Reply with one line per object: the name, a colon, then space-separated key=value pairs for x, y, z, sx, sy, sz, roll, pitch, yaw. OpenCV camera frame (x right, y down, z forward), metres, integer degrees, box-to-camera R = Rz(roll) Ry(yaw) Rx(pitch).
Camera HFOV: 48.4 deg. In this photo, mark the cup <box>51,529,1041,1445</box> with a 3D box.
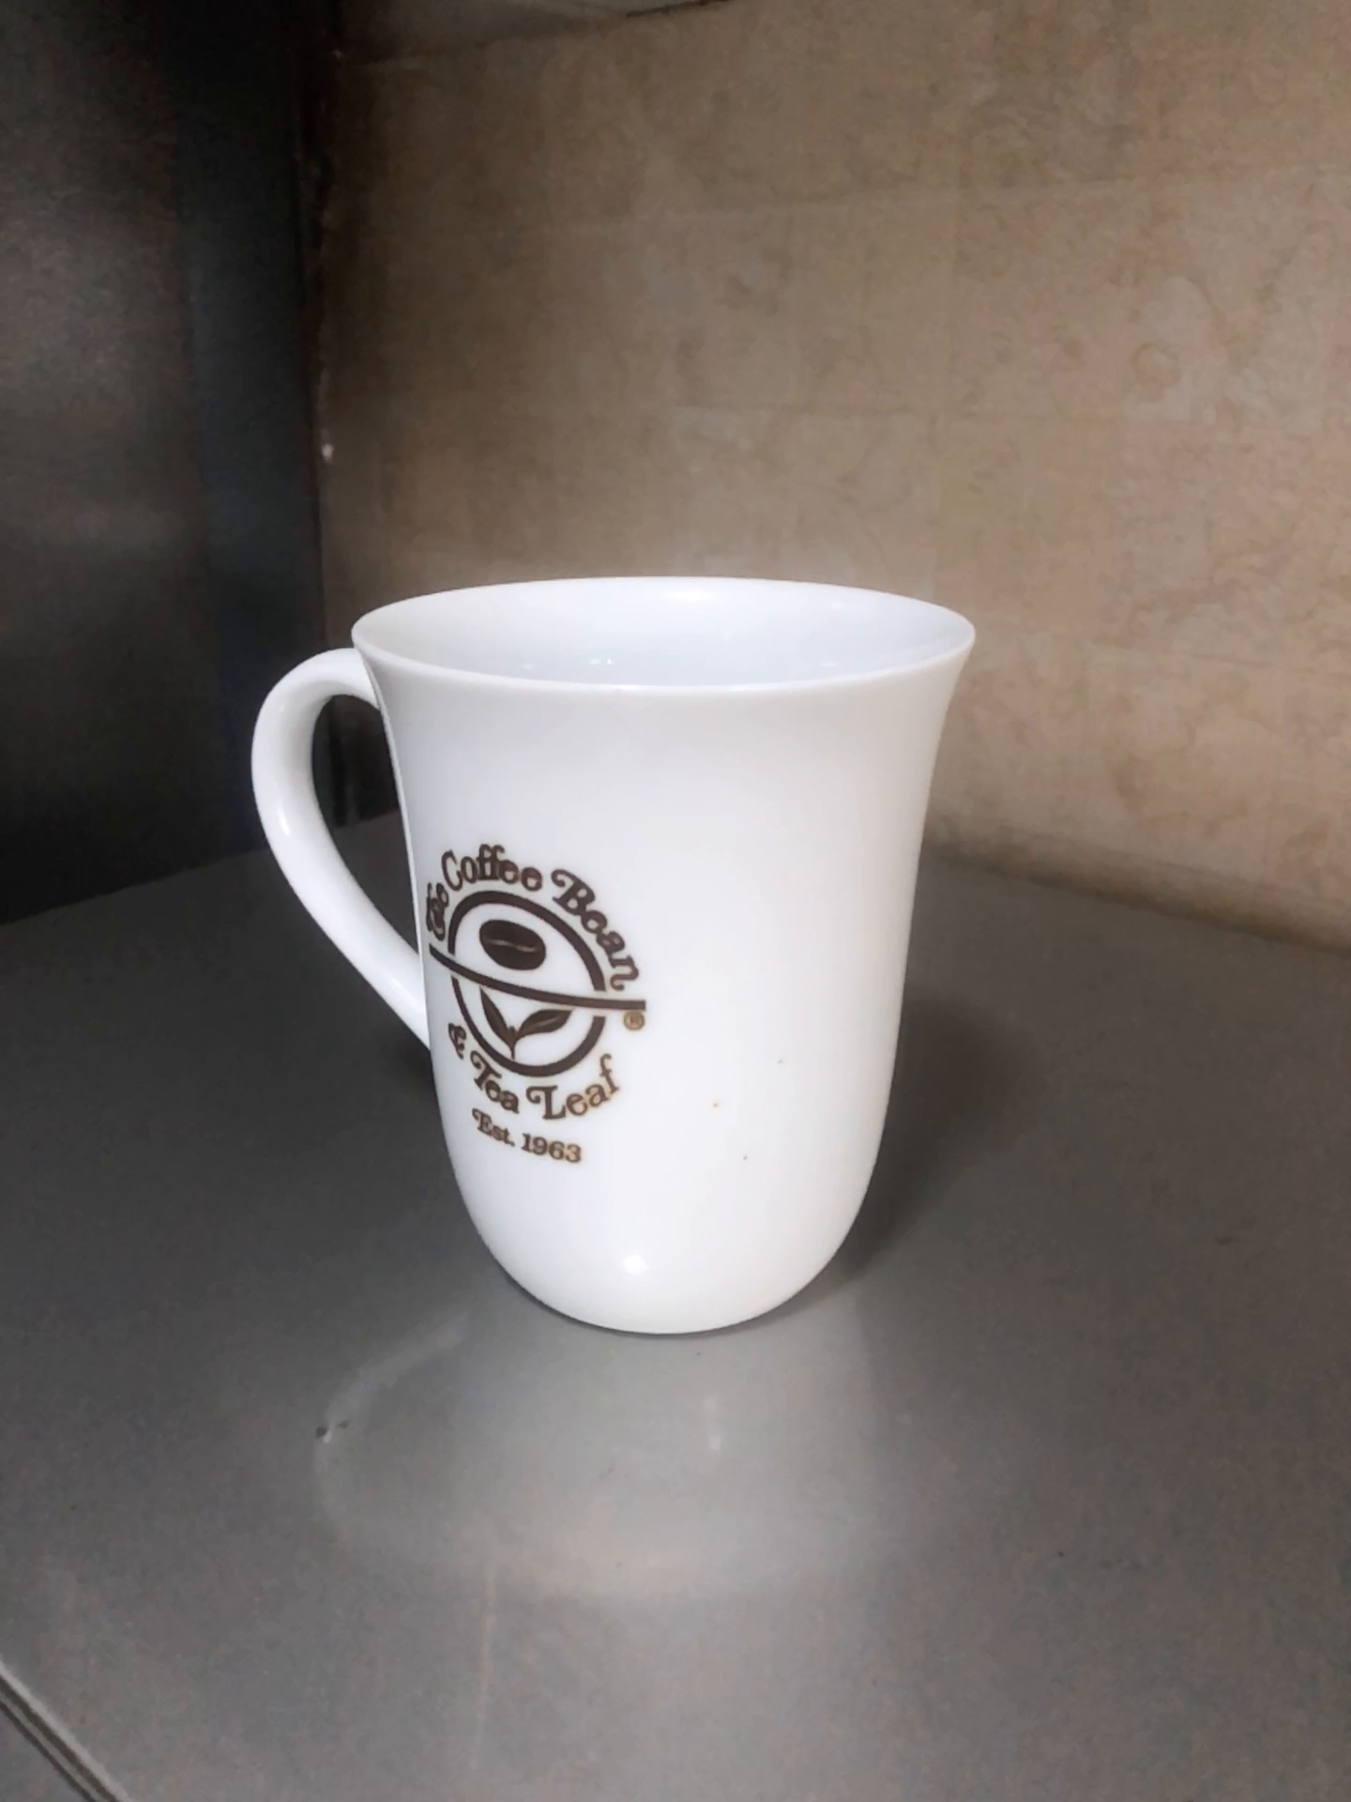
cup: x=-0.018 y=0.000 z=0.259 sx=0.130 sy=0.109 sz=0.090 roll=11 pitch=22 yaw=26
